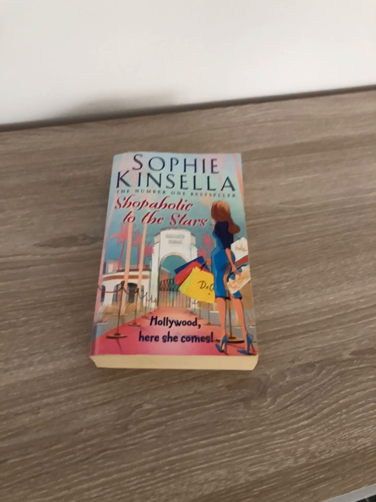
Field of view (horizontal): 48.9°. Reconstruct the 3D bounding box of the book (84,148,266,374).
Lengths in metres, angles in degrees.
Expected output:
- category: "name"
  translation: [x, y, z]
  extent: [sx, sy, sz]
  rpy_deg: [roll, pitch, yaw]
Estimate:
- category: "book"
  translation: [-0.010, 0.001, 0.363]
  extent: [0.130, 0.040, 0.201]
  rpy_deg: [2, 59, -4]
